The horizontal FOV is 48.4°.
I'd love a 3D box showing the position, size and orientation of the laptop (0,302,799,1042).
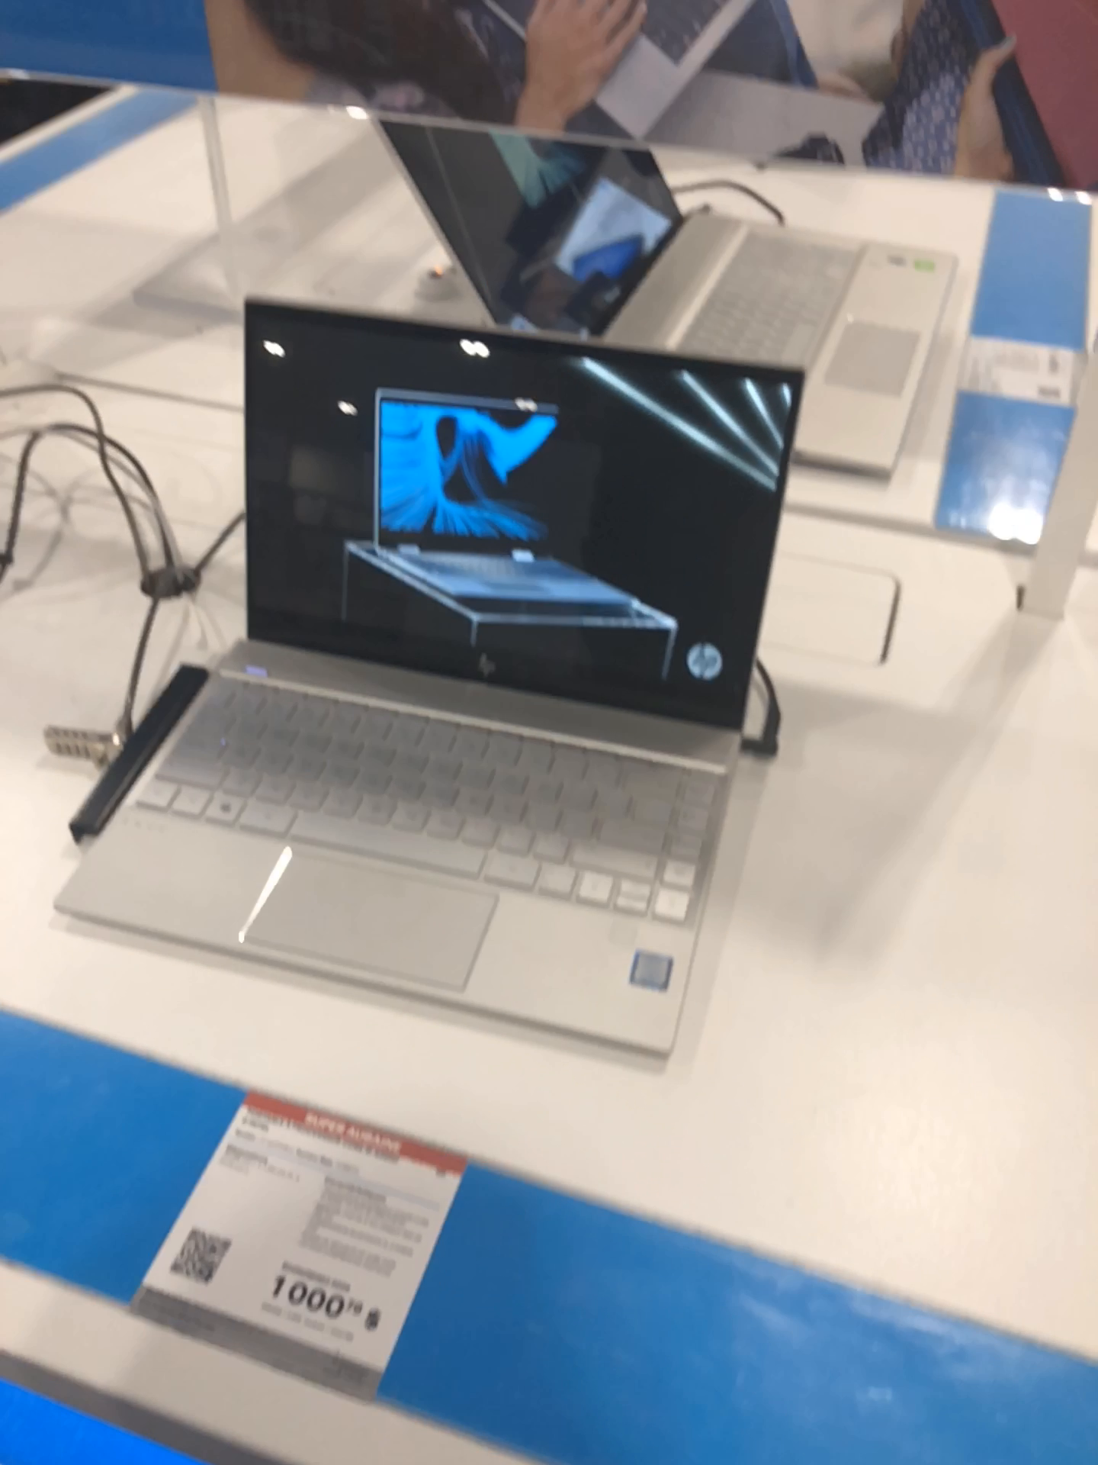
[{"bbox_3d":[-0.057,-0.048,0.596,0.298,0.182,0.273,10,44,11],"label":"laptop"}]
